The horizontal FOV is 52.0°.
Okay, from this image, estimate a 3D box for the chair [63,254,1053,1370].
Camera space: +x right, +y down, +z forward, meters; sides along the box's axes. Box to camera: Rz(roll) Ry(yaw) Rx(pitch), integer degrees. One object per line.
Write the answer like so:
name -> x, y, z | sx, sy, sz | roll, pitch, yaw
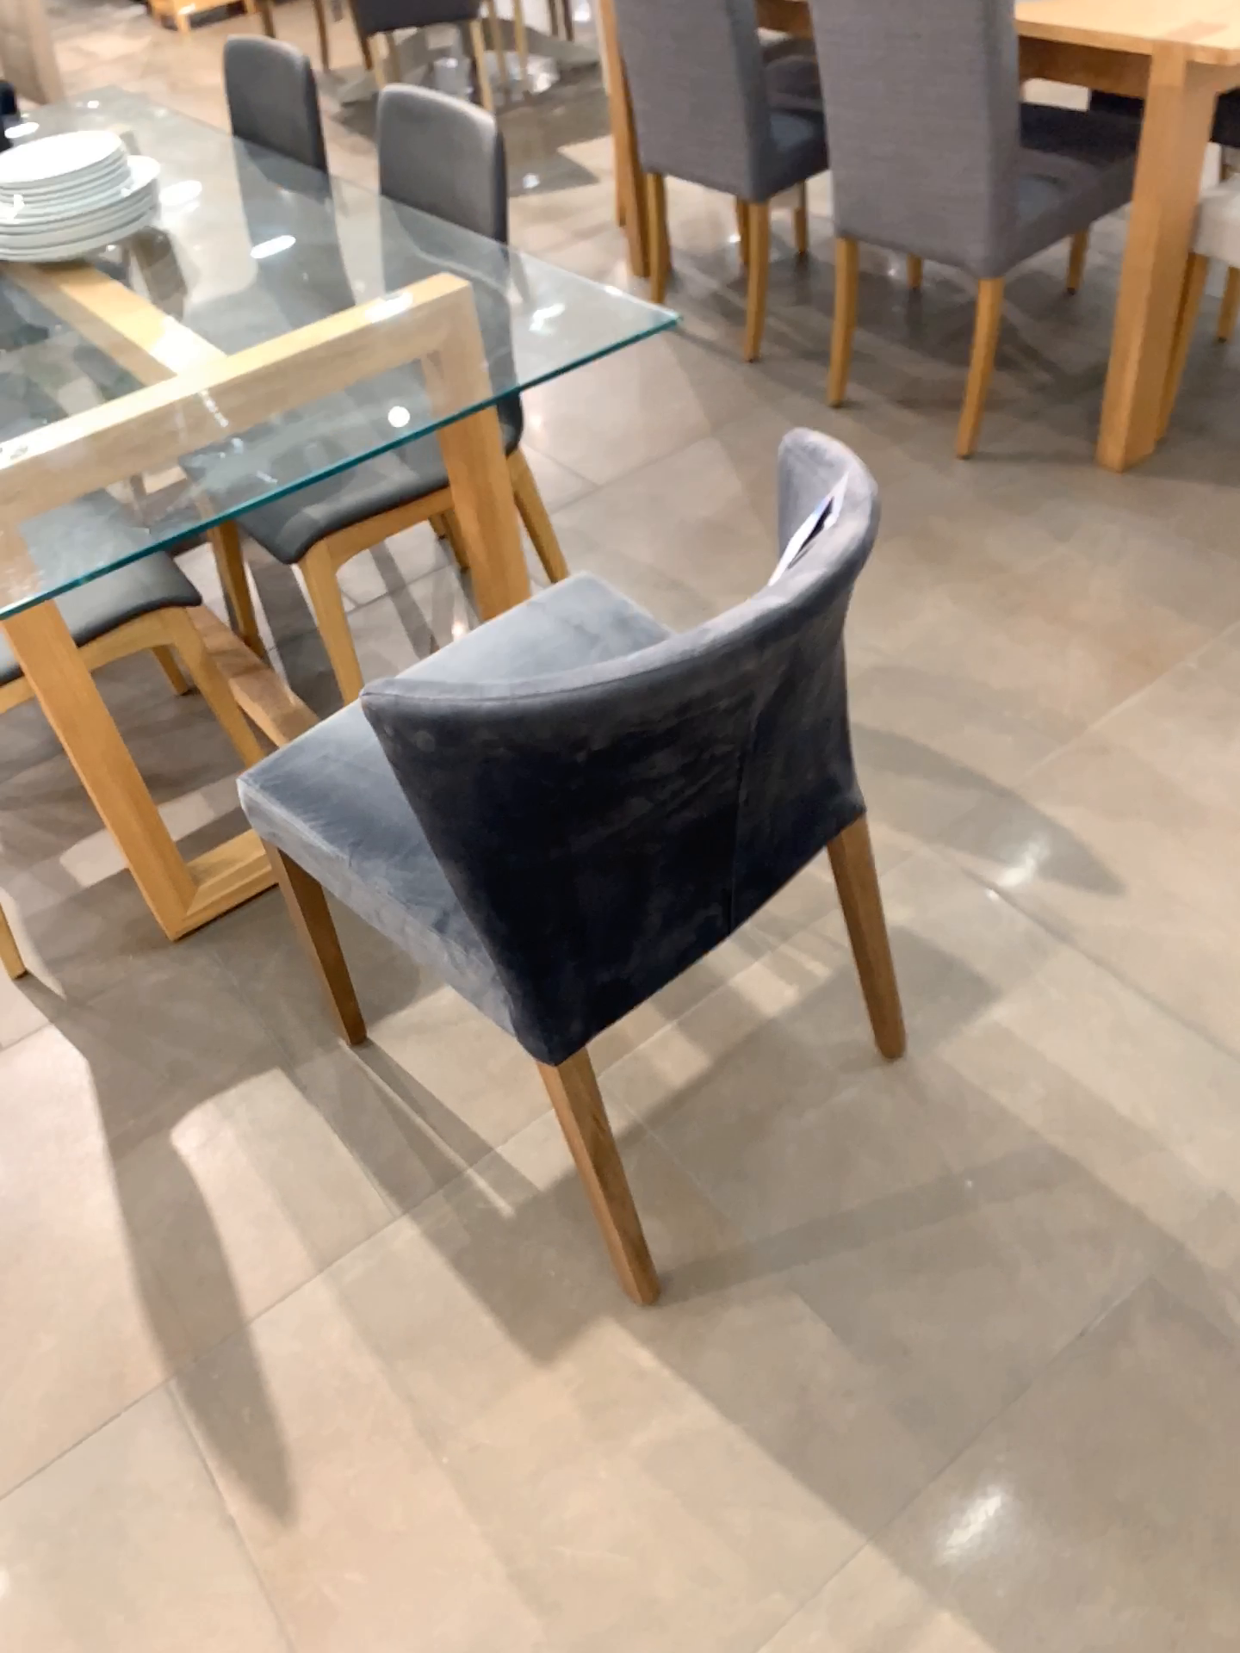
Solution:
chair -> -0.031, -0.030, 1.331 | 0.579, 0.805, 0.617 | -34, 48, -24
